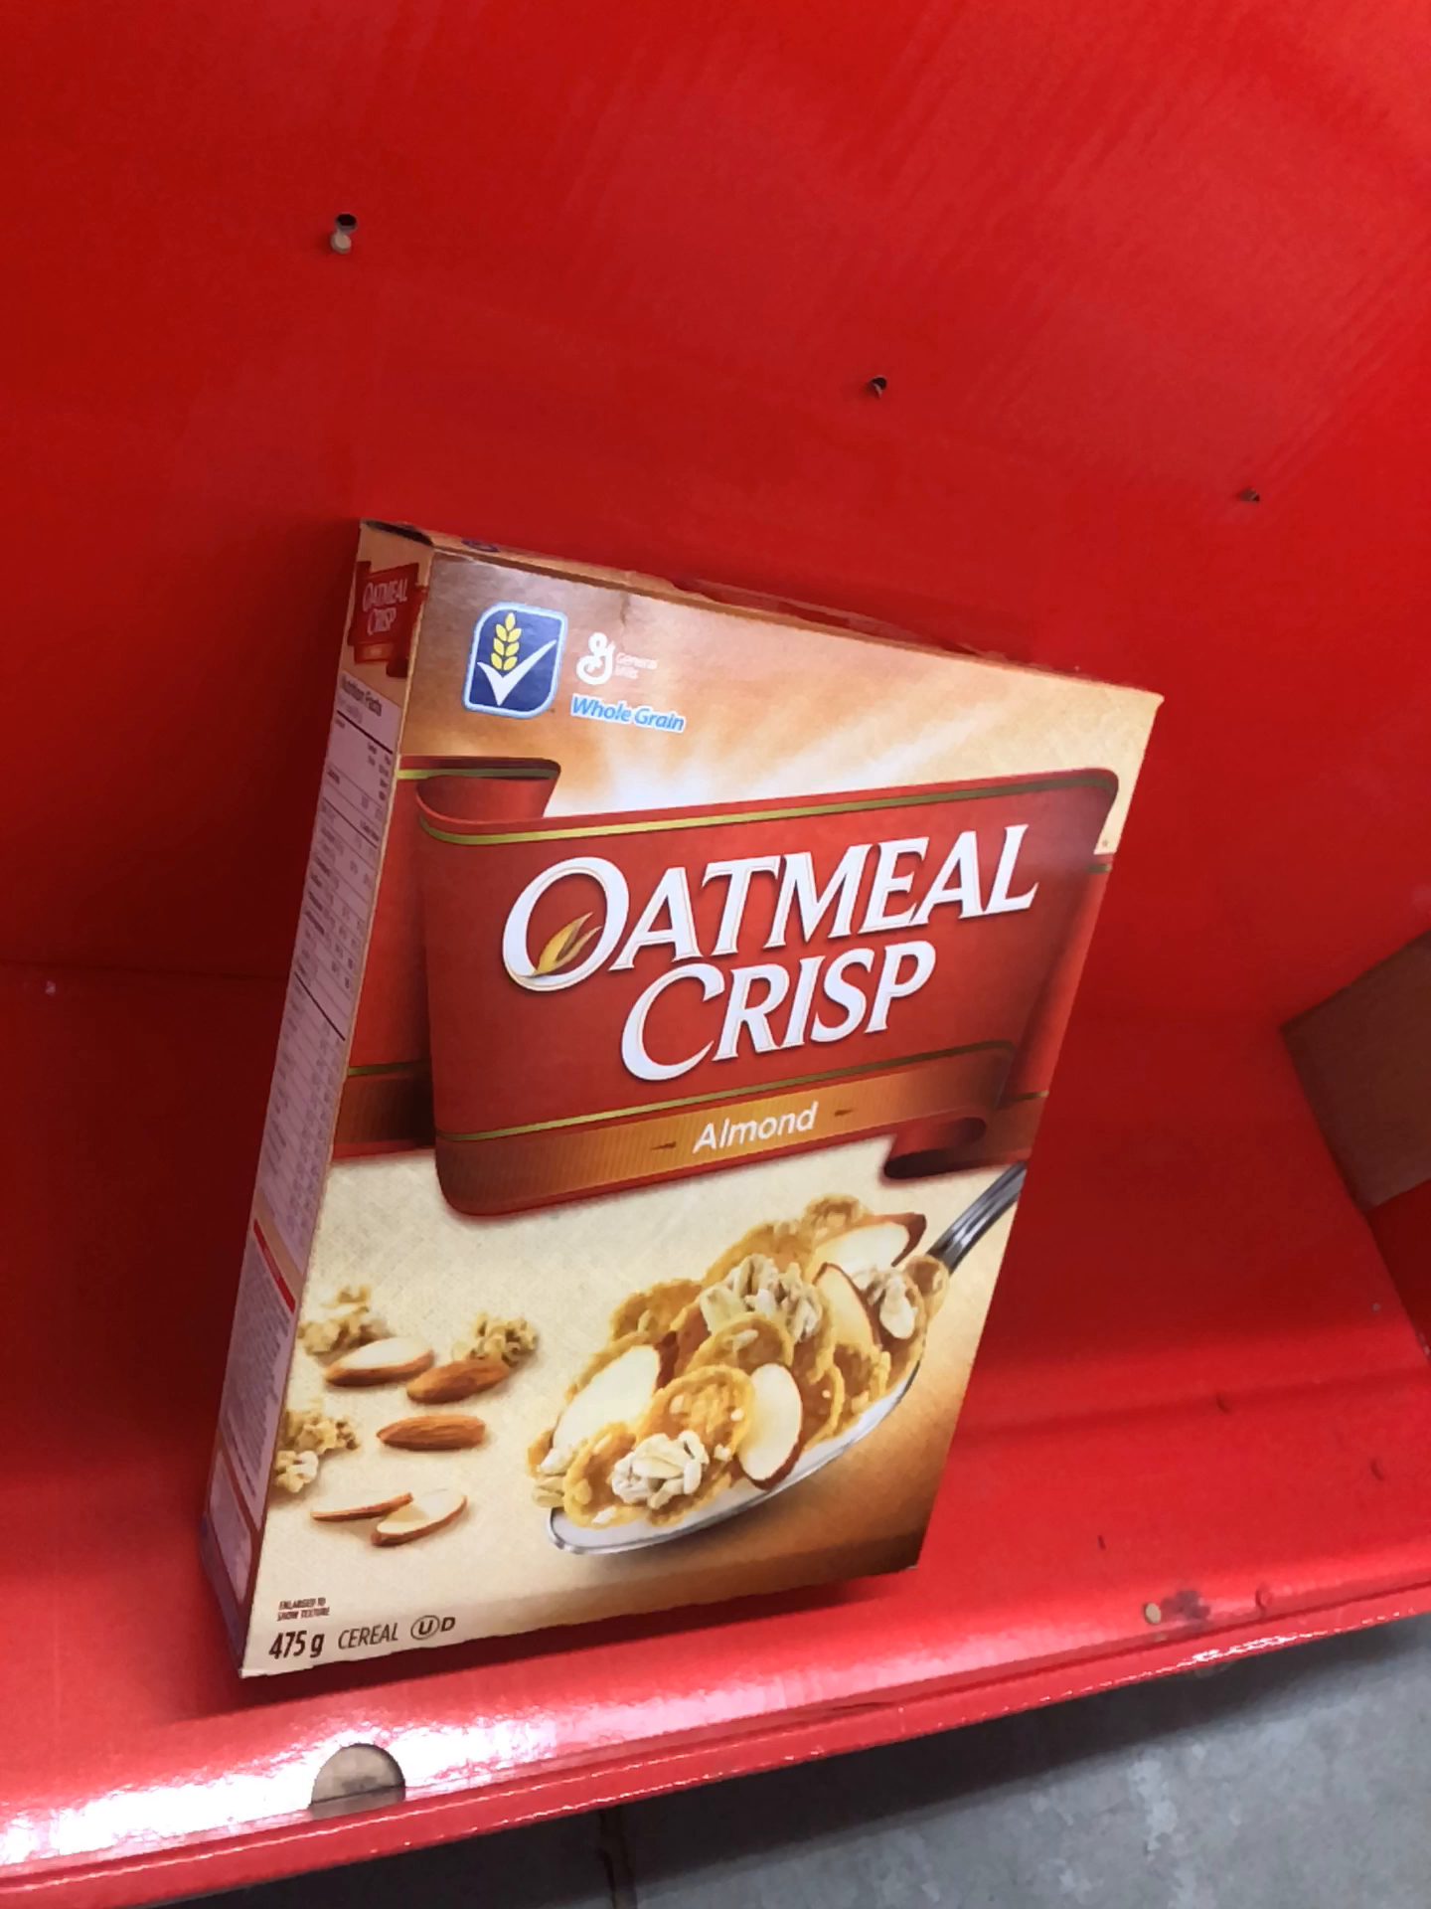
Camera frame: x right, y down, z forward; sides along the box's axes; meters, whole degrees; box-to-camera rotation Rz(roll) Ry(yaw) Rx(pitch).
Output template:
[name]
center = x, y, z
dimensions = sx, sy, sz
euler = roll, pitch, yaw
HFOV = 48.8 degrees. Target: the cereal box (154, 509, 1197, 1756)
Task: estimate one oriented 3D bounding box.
[cereal box]
center = -0.011, 0.047, 0.409
dimensions = 0.210, 0.269, 0.070
euler = 5, 15, -33
